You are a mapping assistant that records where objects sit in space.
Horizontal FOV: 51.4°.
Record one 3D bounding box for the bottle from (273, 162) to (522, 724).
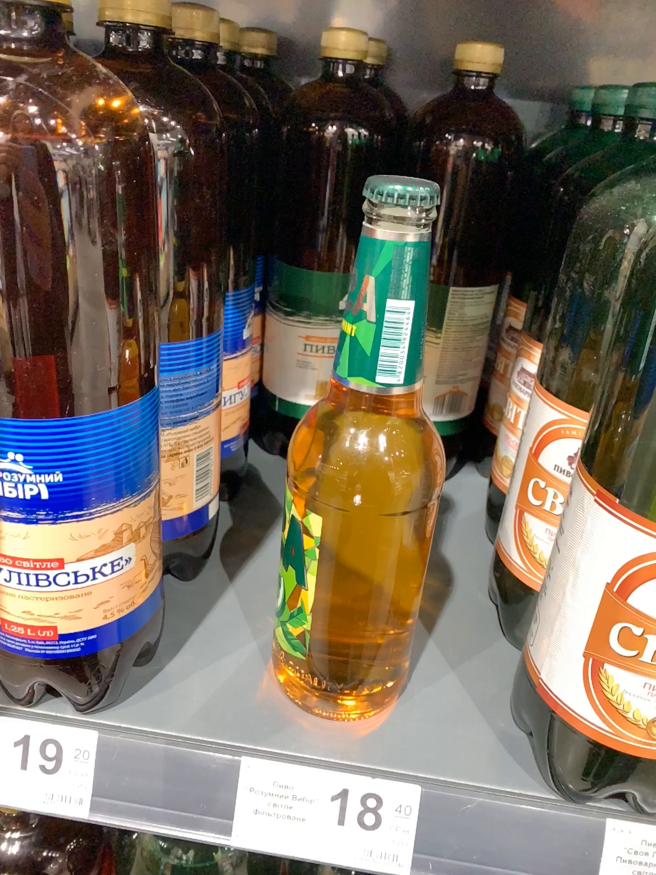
[{"bbox_3d":[0.016,0.012,0.301,0.066,0.238,0.072,4,27,-2],"label":"bottle"}]
